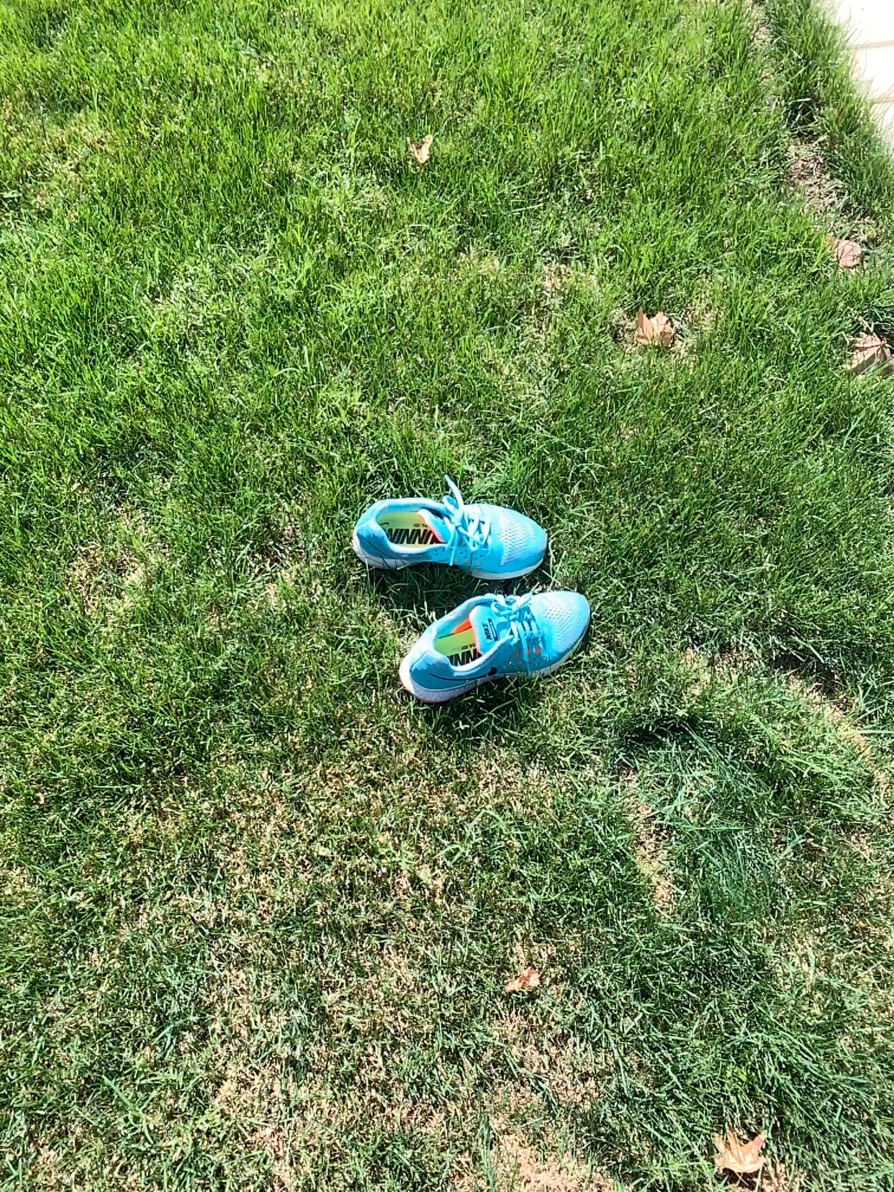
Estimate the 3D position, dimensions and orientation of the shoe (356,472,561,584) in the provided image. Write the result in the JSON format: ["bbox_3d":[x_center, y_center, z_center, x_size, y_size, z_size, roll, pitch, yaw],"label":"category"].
[{"bbox_3d":[0.013,-0.086,1.168,0.250,0.070,0.120,-1,68,-1],"label":"shoe"}]

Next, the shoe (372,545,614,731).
[{"bbox_3d":[0.053,0.051,1.121,0.260,0.090,0.120,-20,67,-10],"label":"shoe"}]
